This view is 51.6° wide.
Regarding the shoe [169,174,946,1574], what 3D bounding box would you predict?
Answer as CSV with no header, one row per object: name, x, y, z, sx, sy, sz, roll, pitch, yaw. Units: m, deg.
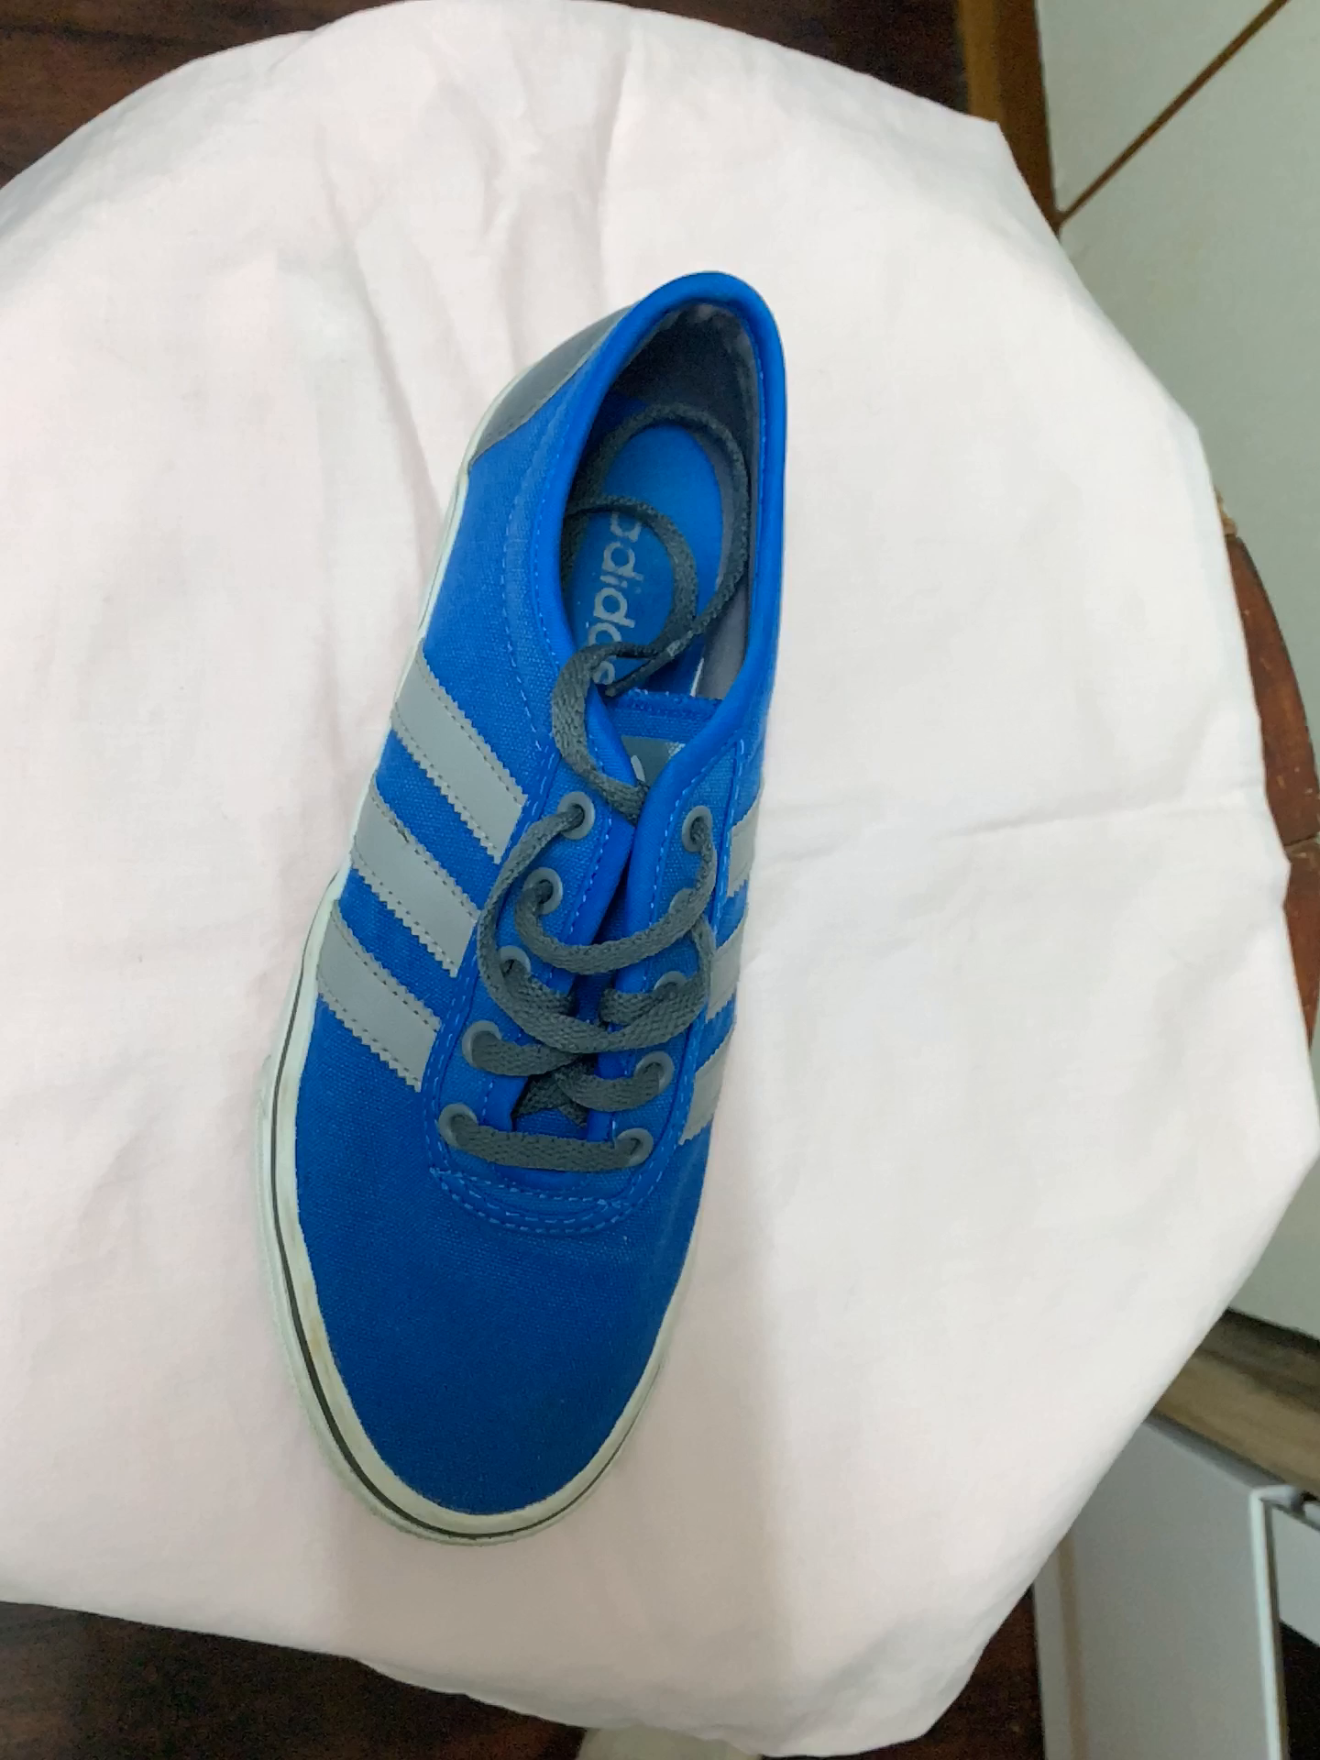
shoe,-0.022,0.001,0.285,0.100,0.090,0.234,11,83,-14
